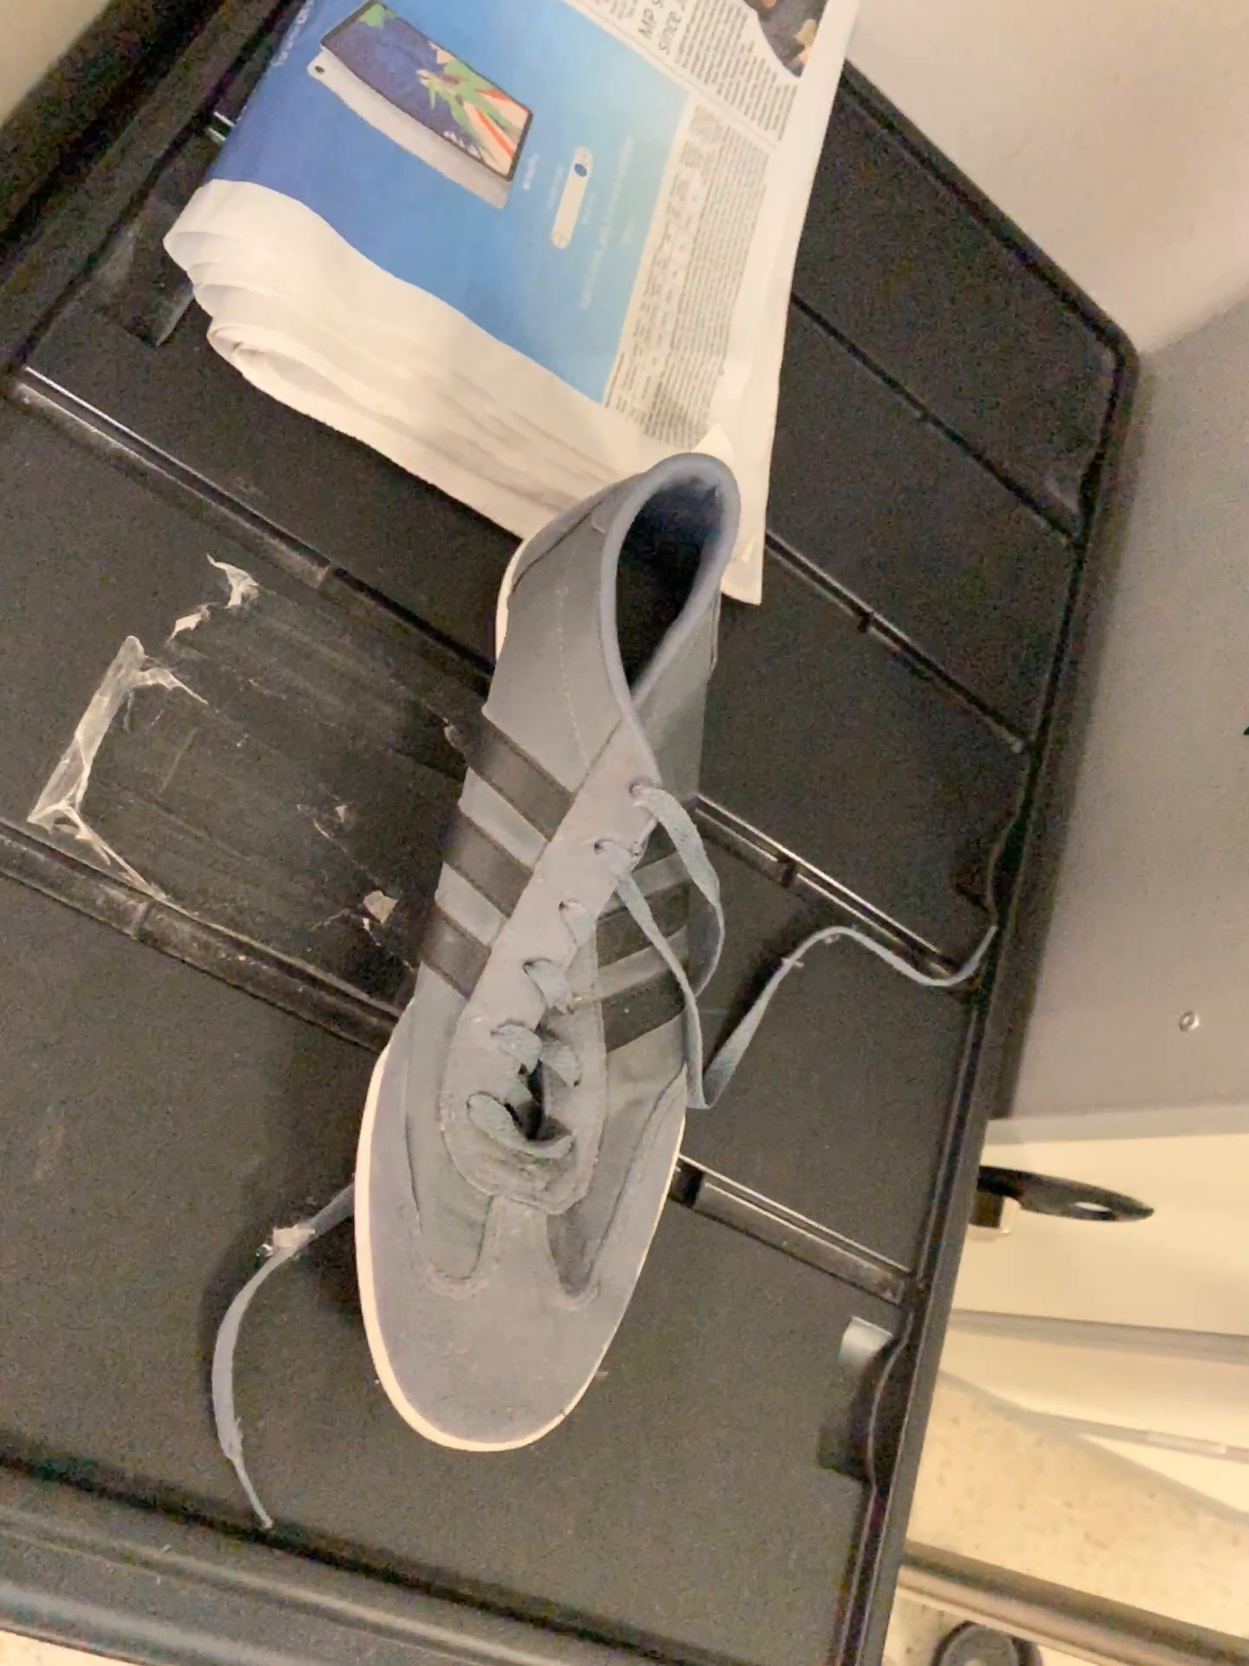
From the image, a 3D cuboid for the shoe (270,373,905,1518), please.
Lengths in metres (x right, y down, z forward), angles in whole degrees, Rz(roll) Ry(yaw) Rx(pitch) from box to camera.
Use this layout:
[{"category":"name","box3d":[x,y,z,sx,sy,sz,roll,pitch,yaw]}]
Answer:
[{"category":"shoe","box3d":[0.001,0.027,0.351,0.114,0.077,0.268,20,66,-28]}]
